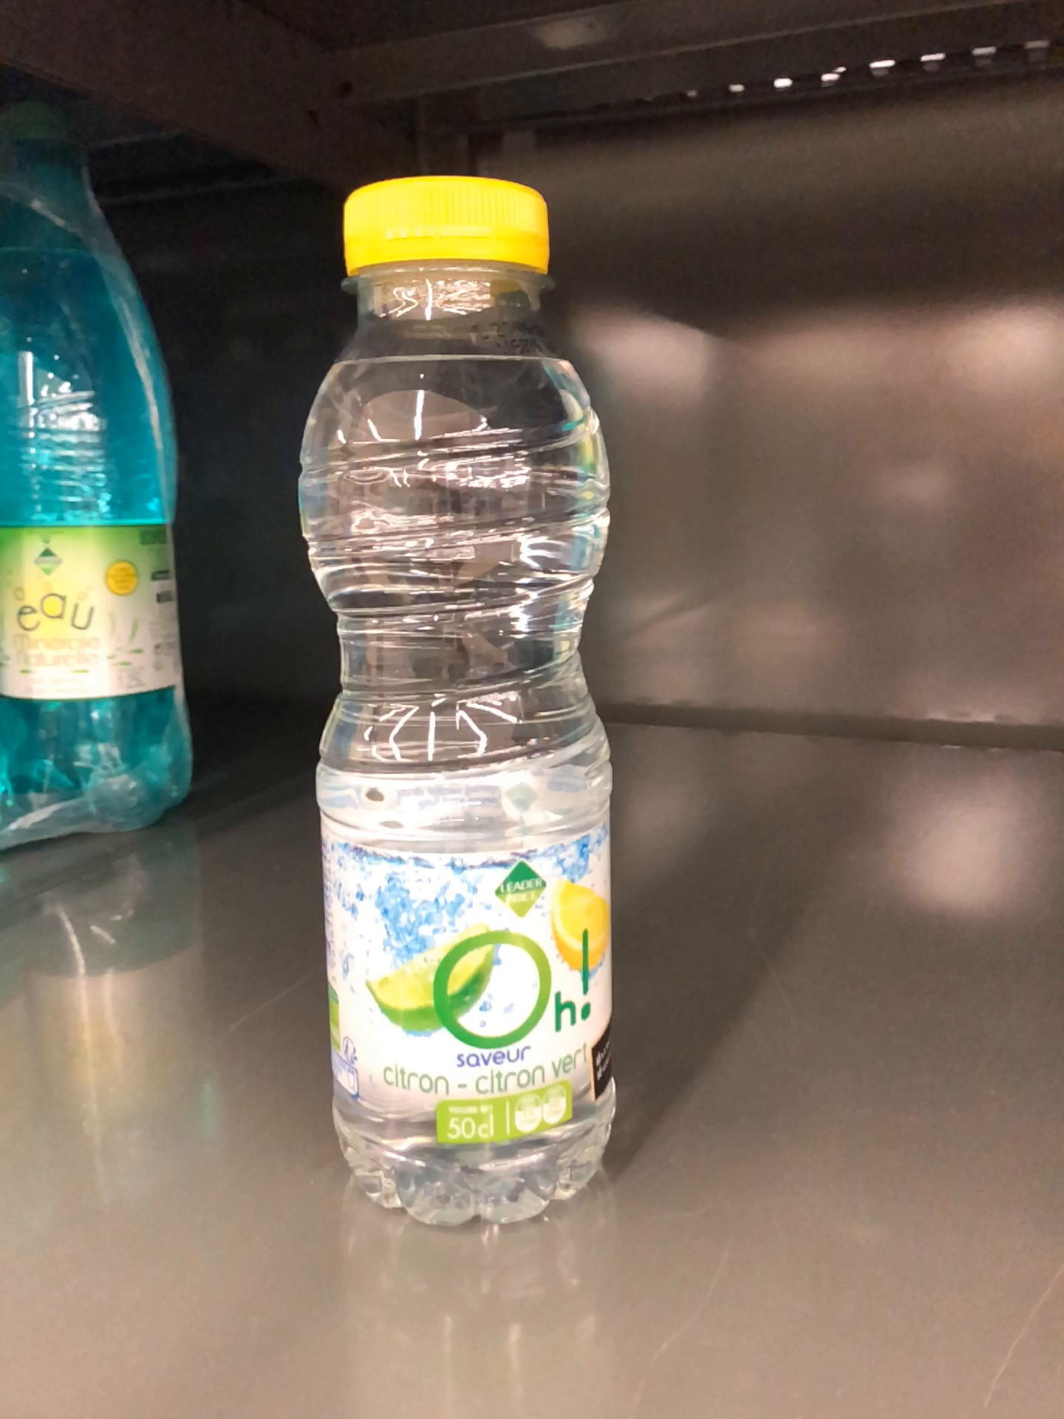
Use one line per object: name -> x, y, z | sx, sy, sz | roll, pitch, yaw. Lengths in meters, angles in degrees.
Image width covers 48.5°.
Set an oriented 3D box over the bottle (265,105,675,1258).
bottle -> -0.013, -0.003, 0.247 | 0.070, 0.209, 0.060 | -3, 10, -10
